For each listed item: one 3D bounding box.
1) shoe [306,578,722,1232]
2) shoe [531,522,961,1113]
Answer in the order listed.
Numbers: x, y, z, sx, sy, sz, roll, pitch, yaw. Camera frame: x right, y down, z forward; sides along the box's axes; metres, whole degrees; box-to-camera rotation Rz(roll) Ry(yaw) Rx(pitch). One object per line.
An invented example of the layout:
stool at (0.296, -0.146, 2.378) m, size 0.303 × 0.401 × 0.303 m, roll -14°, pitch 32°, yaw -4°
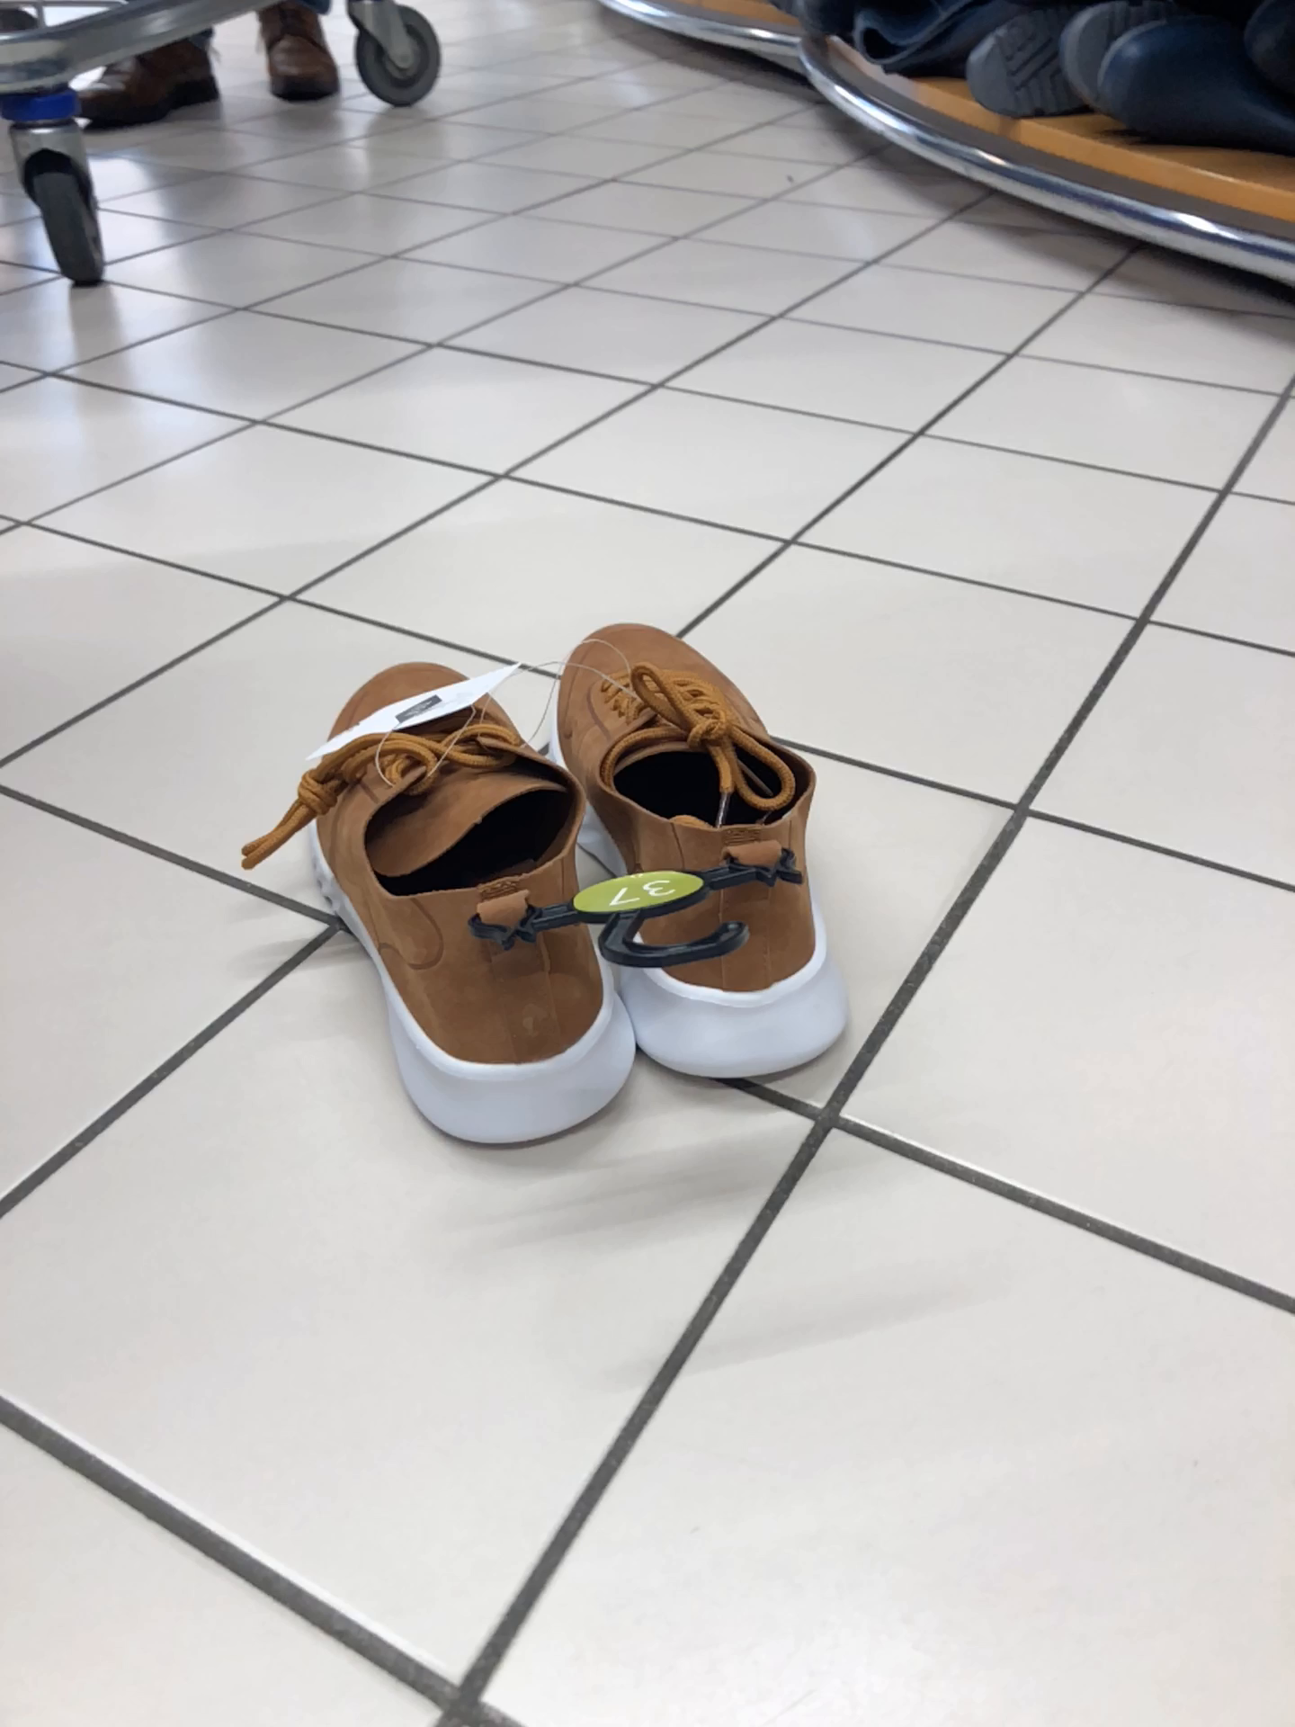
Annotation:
shoe at (-0.056, -0.002, 0.502) m, size 0.090 × 0.099 × 0.231 m, roll -10°, pitch 37°, yaw -14°
shoe at (0.022, -0.031, 0.519) m, size 0.090 × 0.099 × 0.221 m, roll -8°, pitch 37°, yaw -10°
